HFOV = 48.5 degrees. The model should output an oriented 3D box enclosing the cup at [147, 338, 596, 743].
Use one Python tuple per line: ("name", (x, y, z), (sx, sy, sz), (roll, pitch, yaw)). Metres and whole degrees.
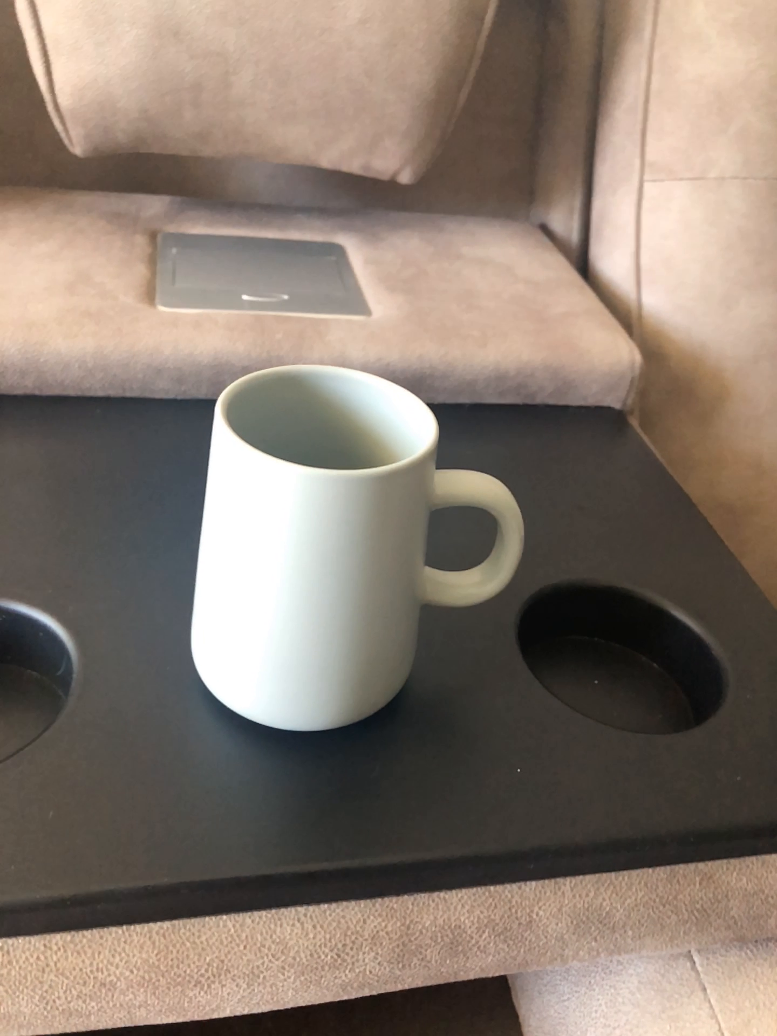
("cup", (-0.015, 0.011, 0.330), (0.136, 0.121, 0.087), (2, 38, -10))
